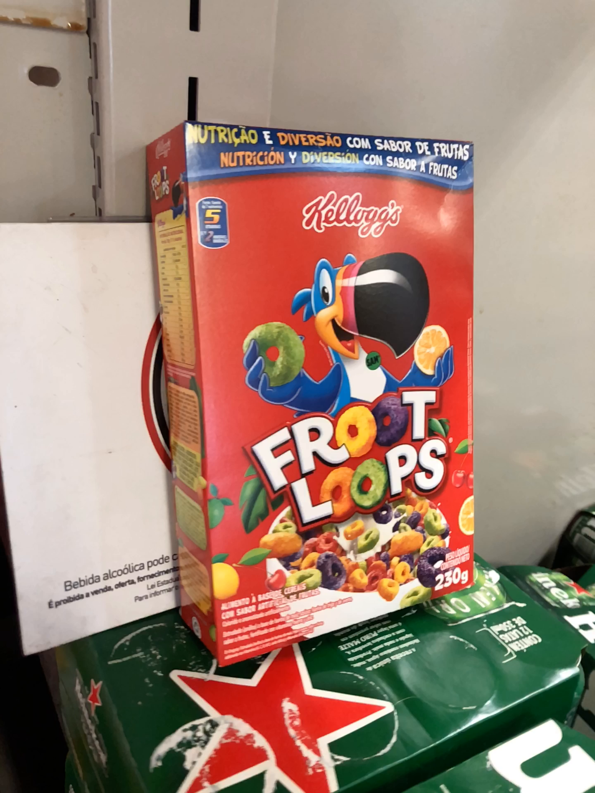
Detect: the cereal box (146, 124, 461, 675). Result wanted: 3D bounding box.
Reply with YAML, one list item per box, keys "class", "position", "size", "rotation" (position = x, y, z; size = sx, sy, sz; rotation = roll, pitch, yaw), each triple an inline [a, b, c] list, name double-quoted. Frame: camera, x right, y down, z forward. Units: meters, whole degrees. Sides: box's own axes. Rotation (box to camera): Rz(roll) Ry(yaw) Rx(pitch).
- class: "cereal box"
  position: [0.010, -0.004, 0.366]
  size: [0.150, 0.259, 0.060]
  rotation: [-8, 10, -27]
